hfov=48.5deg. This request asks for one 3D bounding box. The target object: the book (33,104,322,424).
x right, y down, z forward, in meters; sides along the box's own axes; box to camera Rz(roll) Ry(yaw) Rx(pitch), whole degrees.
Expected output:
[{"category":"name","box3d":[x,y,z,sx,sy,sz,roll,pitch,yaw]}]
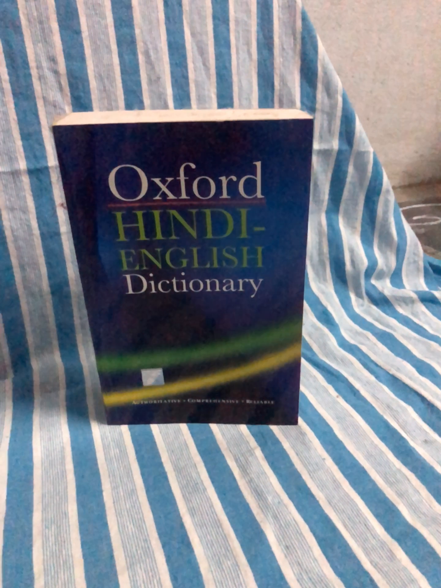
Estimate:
[{"category":"book","box3d":[-0.020,-0.010,0.308,0.140,0.199,0.050,0,30,0]}]
